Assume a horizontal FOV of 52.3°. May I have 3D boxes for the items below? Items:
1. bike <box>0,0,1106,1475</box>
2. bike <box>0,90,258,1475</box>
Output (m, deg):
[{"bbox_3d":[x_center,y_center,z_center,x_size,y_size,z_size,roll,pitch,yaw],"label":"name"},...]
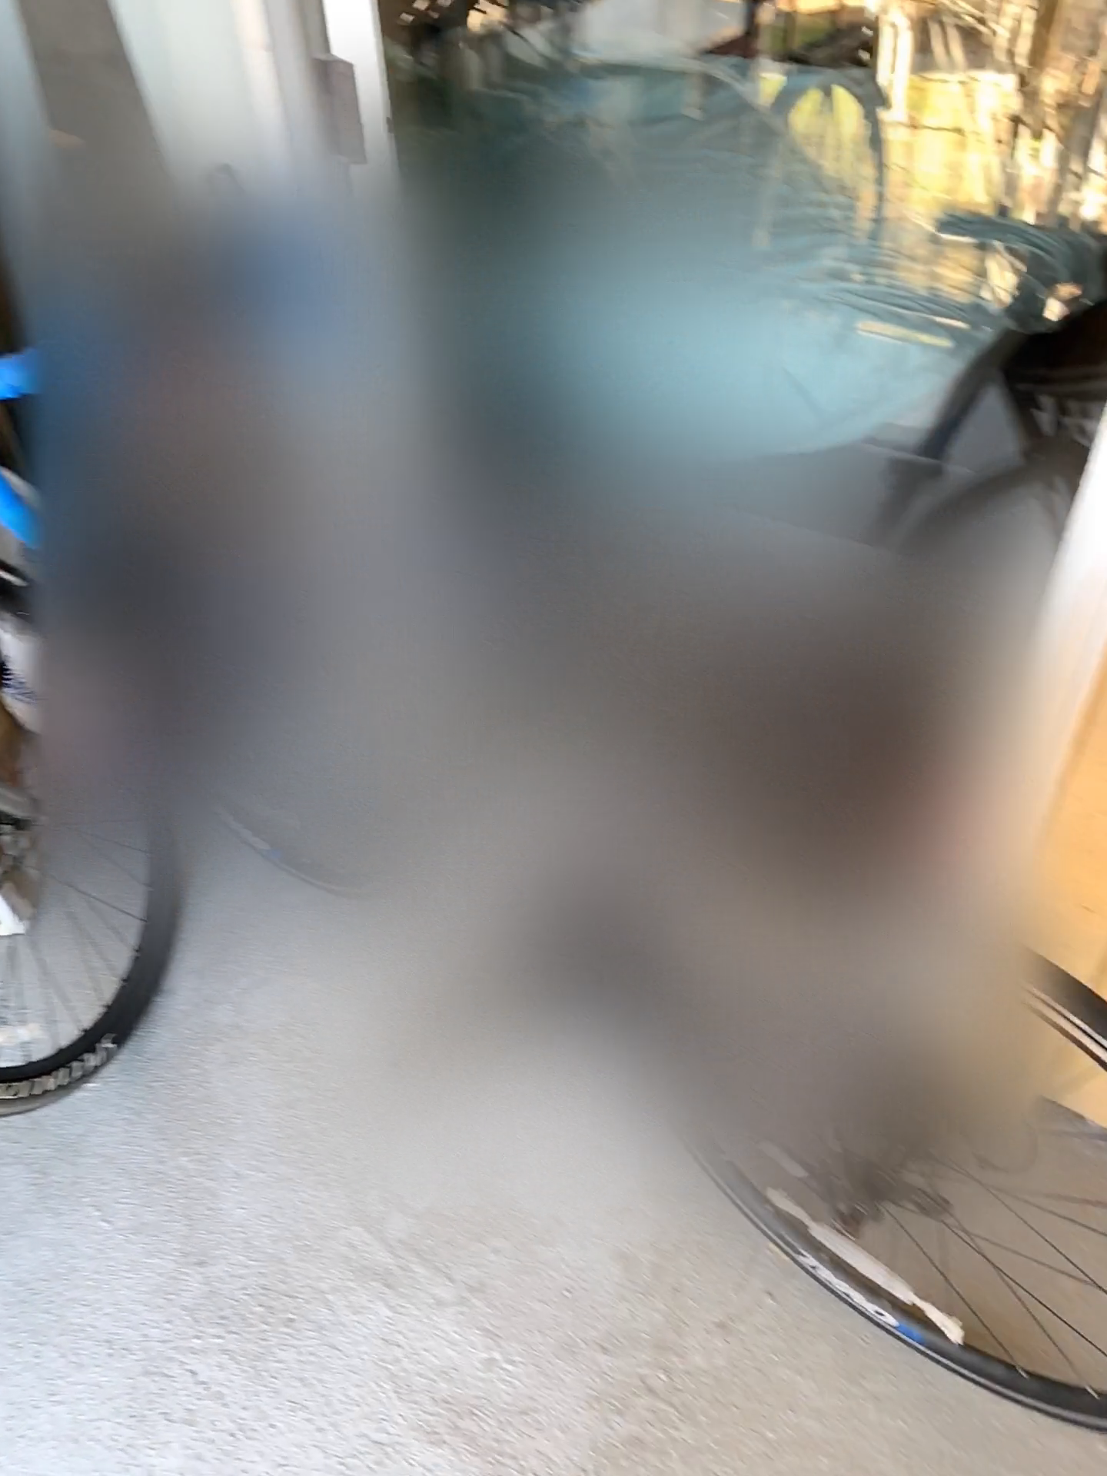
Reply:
[{"bbox_3d":[-0.033,0.036,1.085,1.505,0.932,0.363,31,54,25],"label":"bike"},{"bbox_3d":[-1.054,0.237,0.929,0.623,0.971,1.589,16,46,19],"label":"bike"}]
